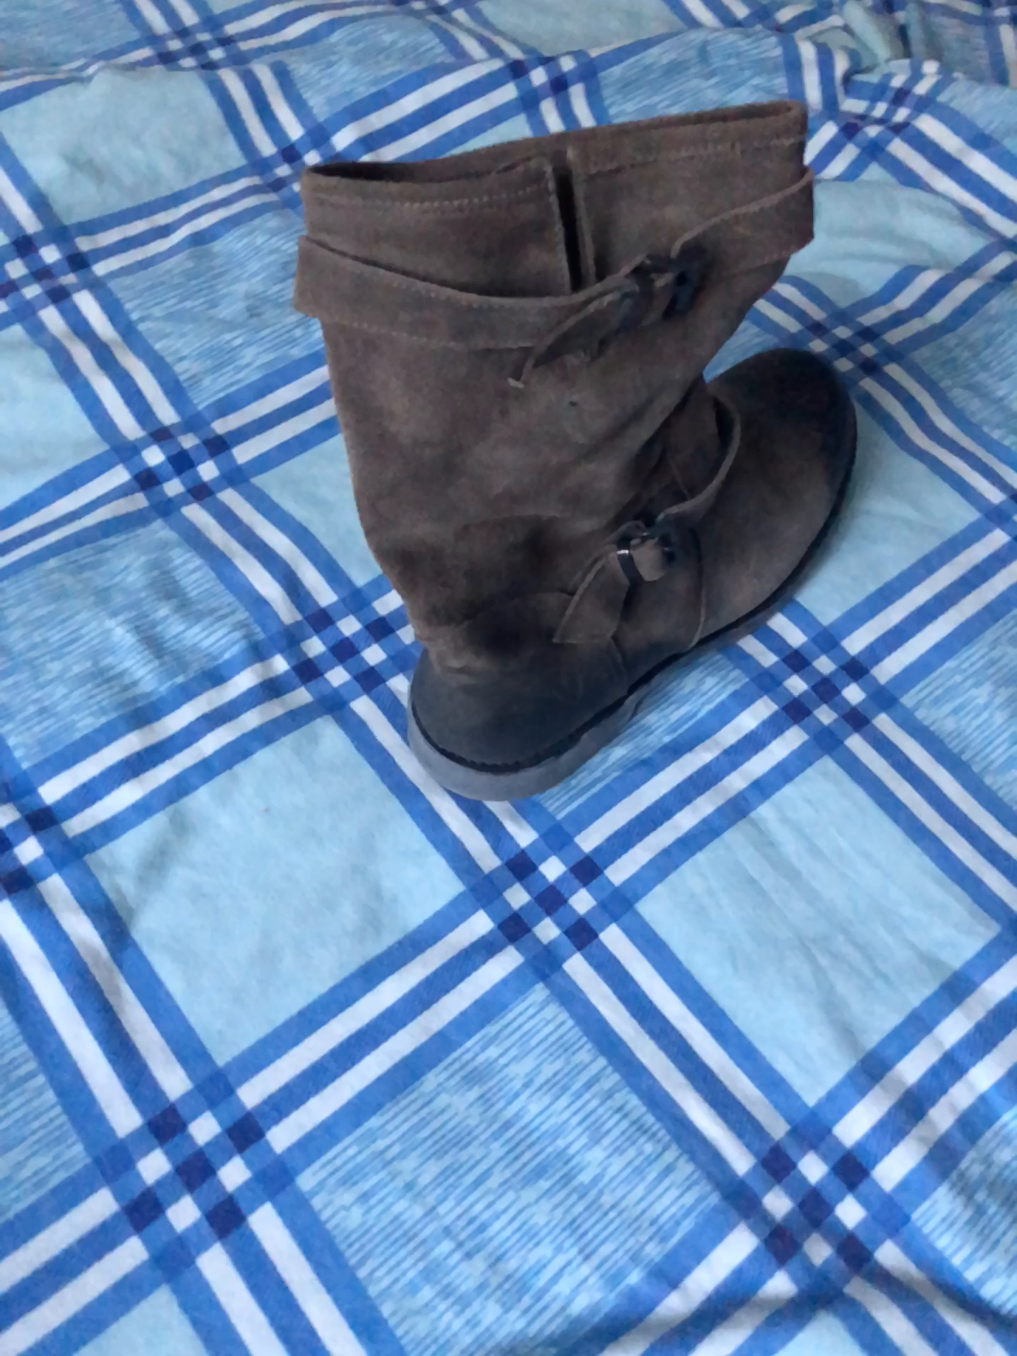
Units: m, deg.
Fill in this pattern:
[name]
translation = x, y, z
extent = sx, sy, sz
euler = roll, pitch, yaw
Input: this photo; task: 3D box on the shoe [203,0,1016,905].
[shoe]
translation = 0.065, -0.105, 0.475
extent = 0.130, 0.289, 0.321
euler = 41, 65, 18
